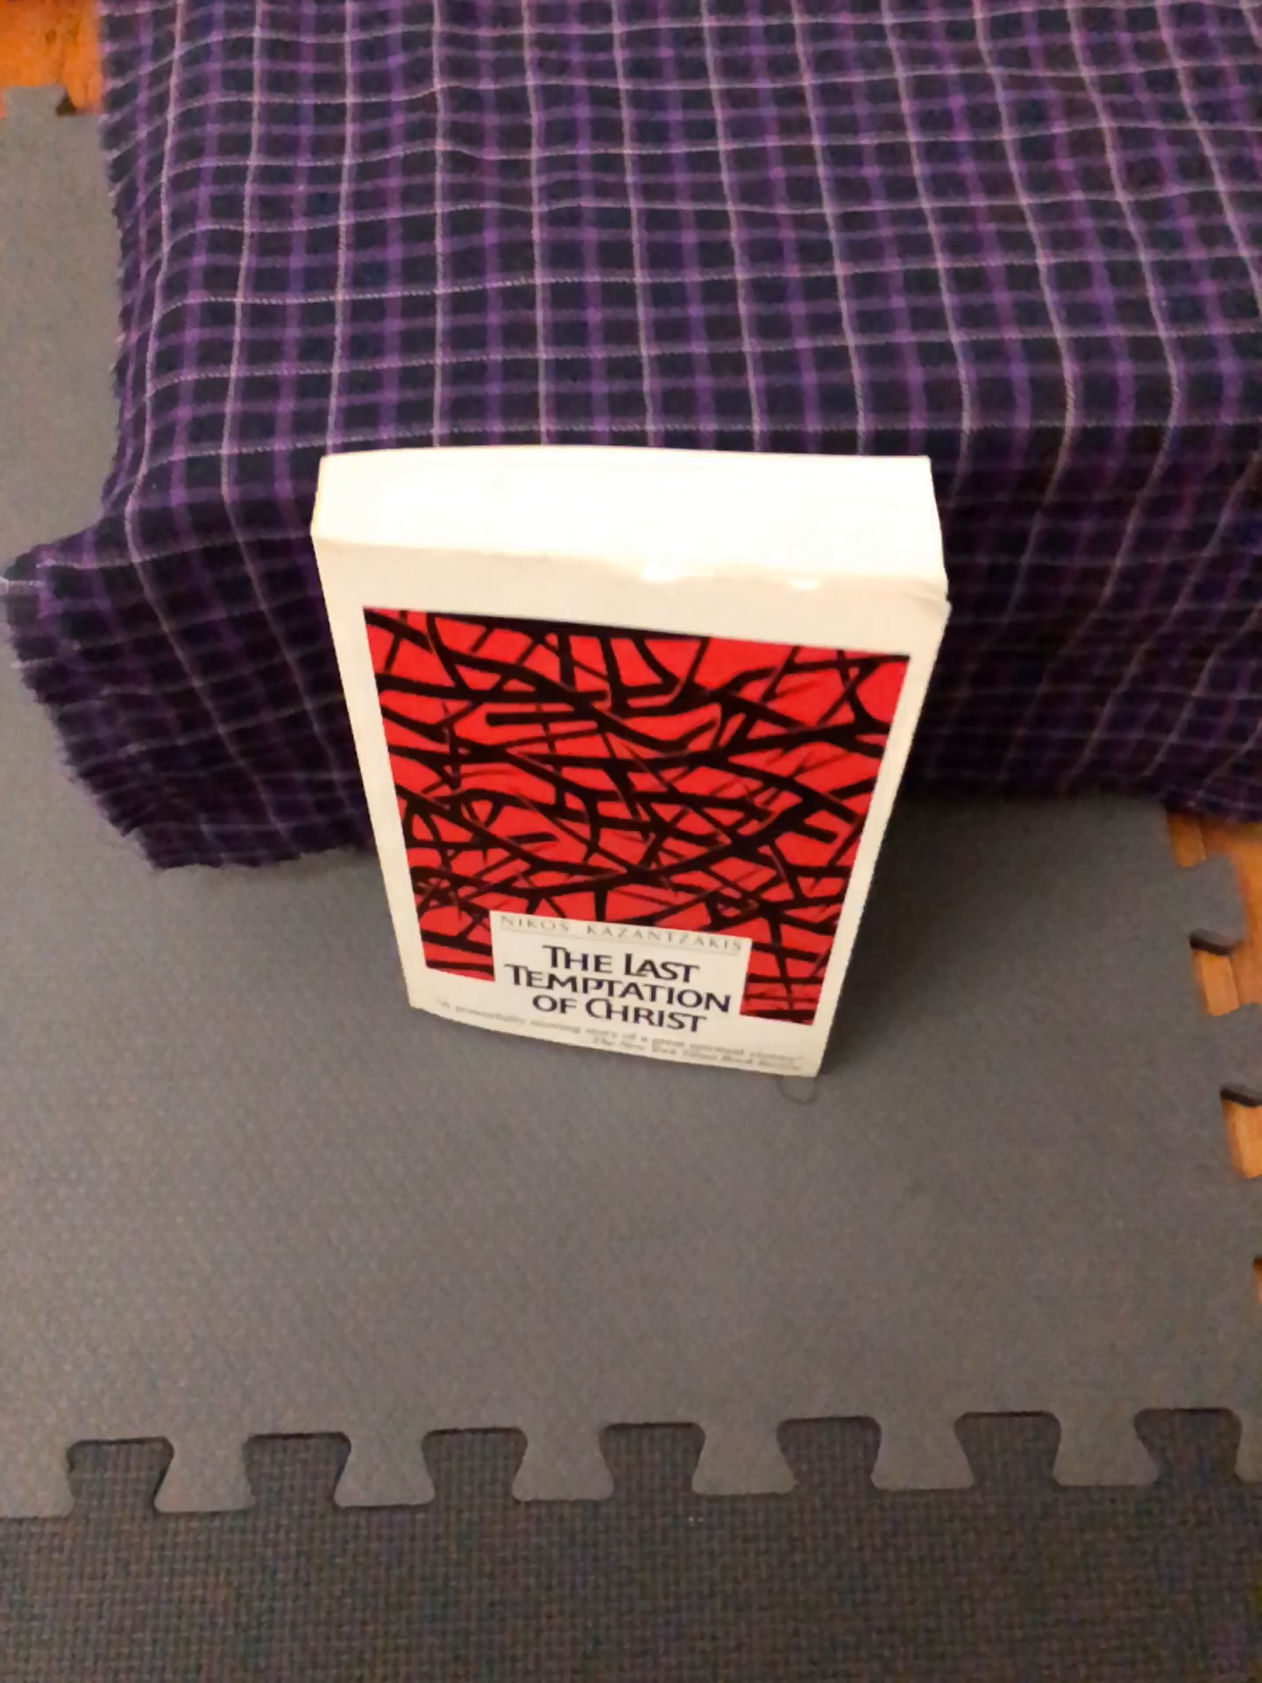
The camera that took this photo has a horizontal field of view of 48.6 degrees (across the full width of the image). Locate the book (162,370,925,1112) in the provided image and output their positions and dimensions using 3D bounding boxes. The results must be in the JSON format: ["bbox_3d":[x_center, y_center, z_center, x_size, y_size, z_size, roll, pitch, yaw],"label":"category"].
[{"bbox_3d":[-0.014,-0.012,0.374,0.150,0.209,0.050,11,56,10],"label":"book"}]
